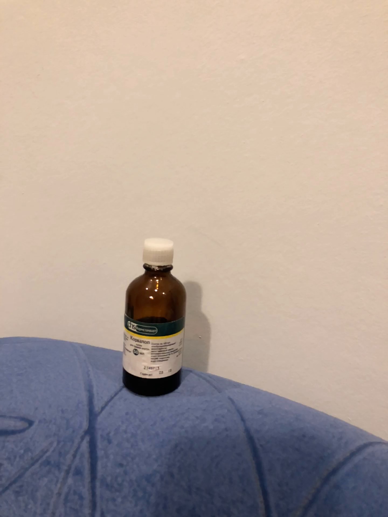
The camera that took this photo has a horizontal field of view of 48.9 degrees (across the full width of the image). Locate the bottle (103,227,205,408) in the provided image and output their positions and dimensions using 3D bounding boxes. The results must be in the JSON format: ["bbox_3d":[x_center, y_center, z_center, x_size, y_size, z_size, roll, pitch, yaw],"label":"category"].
[{"bbox_3d":[-0.026,0.035,0.273,0.045,0.100,0.040,10,14,18],"label":"bottle"}]
